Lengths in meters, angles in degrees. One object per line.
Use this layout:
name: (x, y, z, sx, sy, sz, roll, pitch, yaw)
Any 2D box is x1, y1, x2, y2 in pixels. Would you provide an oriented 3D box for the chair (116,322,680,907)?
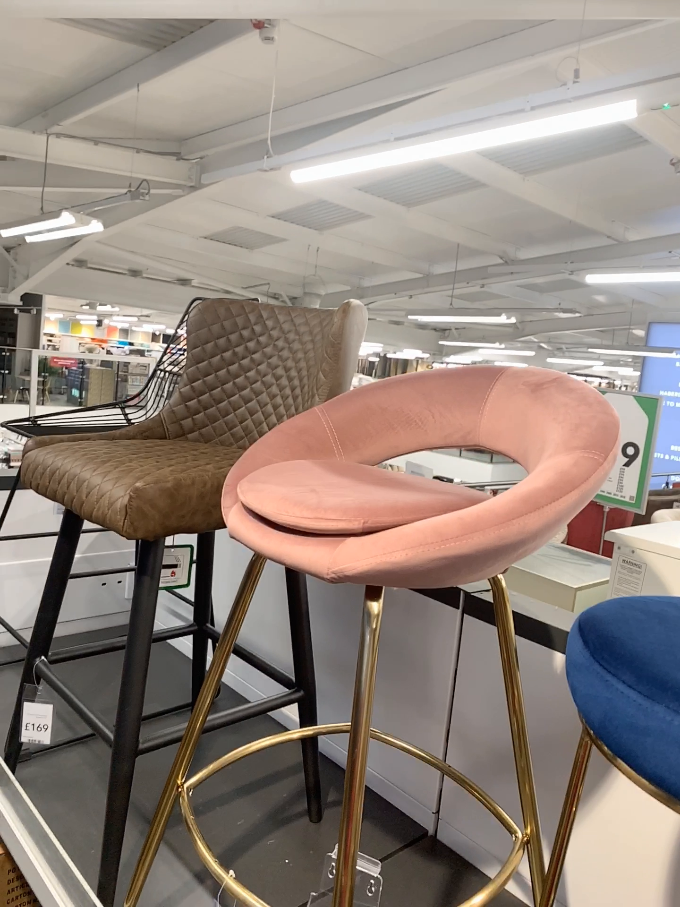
chair: (0.052, 0.291, 0.922, 0.461, 0.859, 0.493, 2, 7, -39)

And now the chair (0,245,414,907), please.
chair: (-0.260, 0.174, 1.243, 0.451, 0.959, 0.503, 0, 8, -45)

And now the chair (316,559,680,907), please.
chair: (0.321, 0.471, 0.569, 0.431, 0.619, 0.463, 1, 8, -39)
